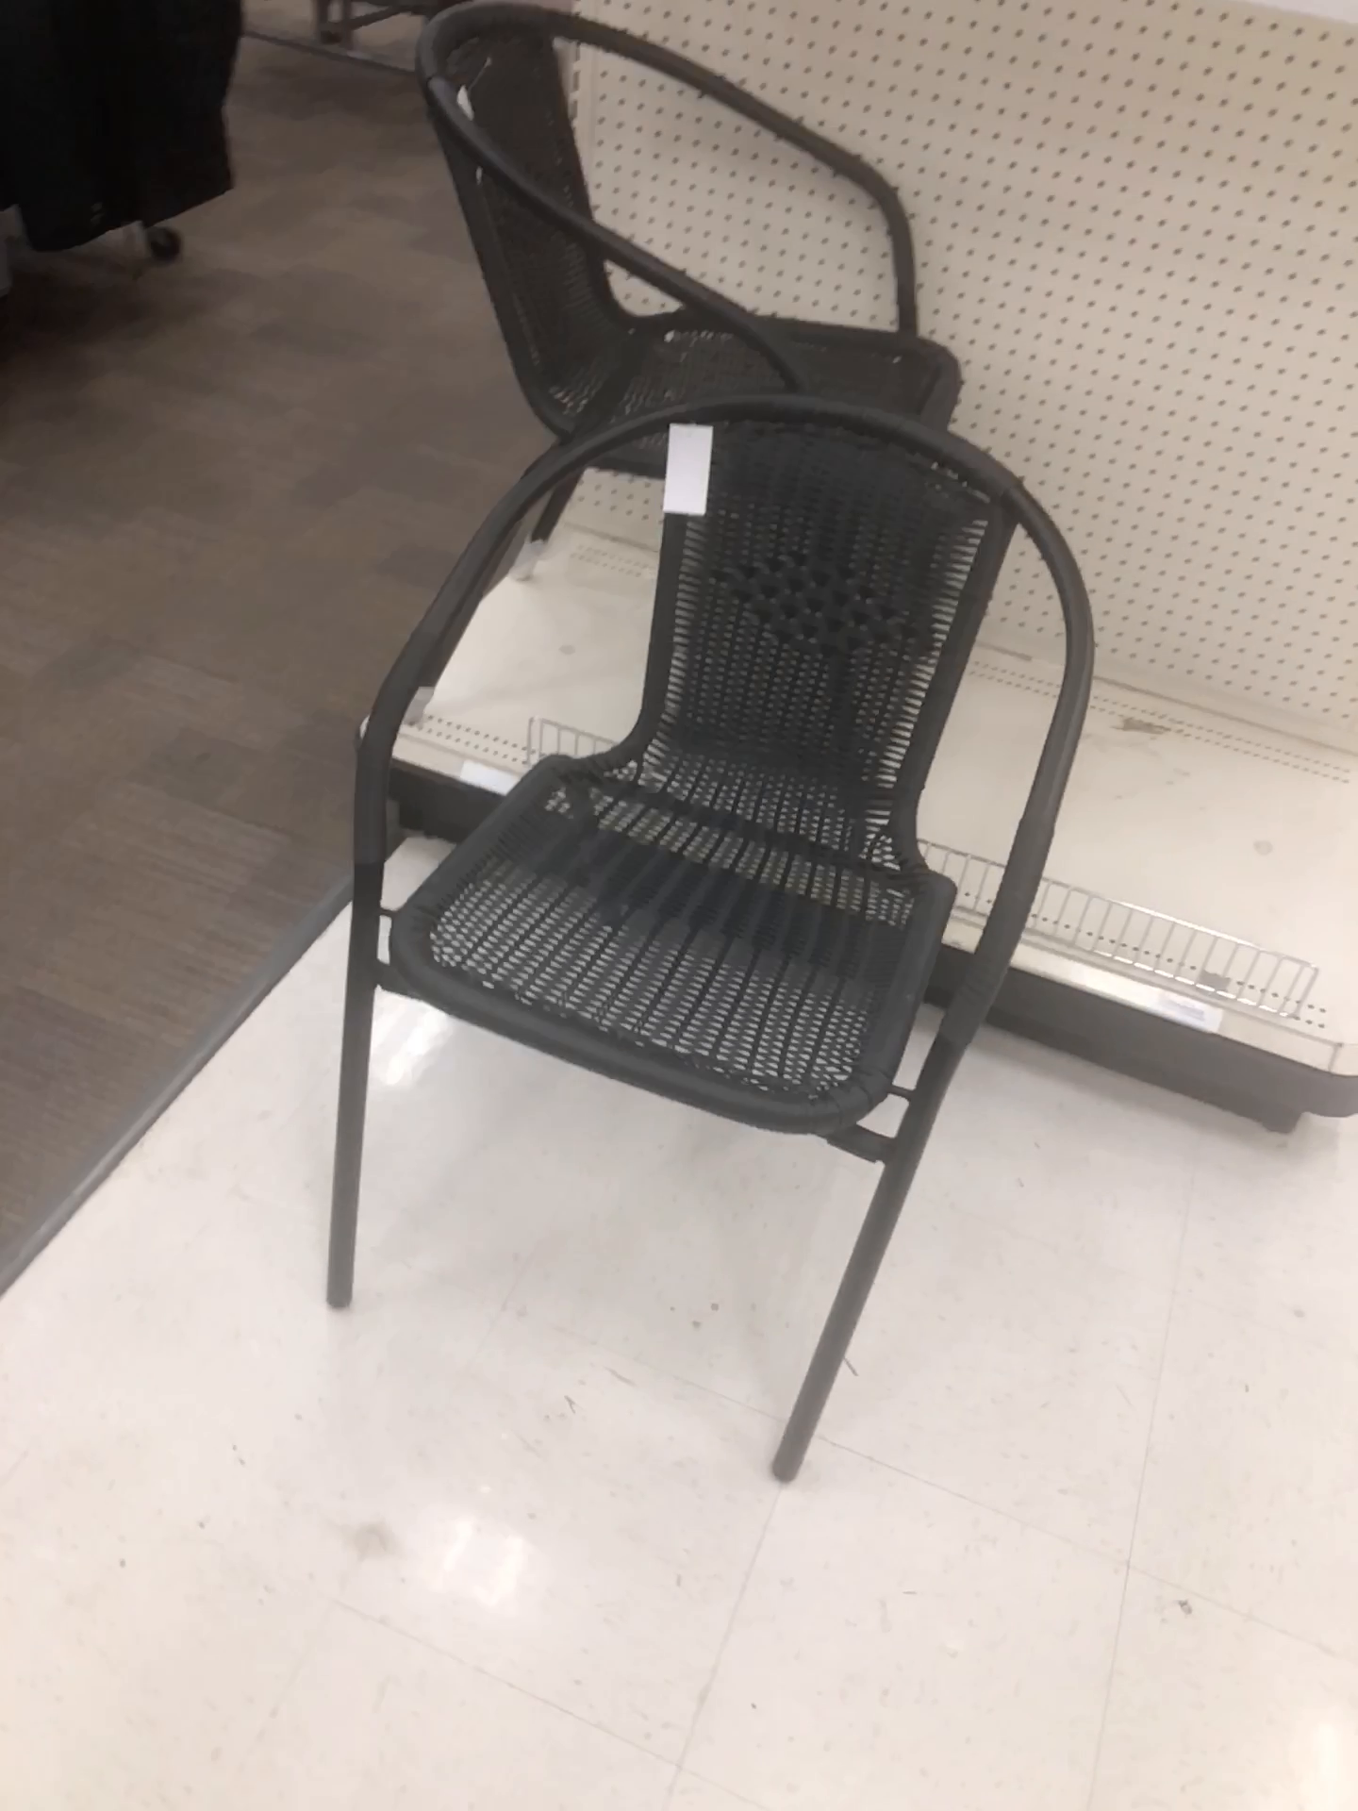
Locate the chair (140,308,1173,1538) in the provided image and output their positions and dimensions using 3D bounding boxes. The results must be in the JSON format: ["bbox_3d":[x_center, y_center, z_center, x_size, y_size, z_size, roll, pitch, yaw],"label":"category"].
[{"bbox_3d":[0.005,-0.011,1.299,0.530,0.696,0.643,20,42,13],"label":"chair"}]
